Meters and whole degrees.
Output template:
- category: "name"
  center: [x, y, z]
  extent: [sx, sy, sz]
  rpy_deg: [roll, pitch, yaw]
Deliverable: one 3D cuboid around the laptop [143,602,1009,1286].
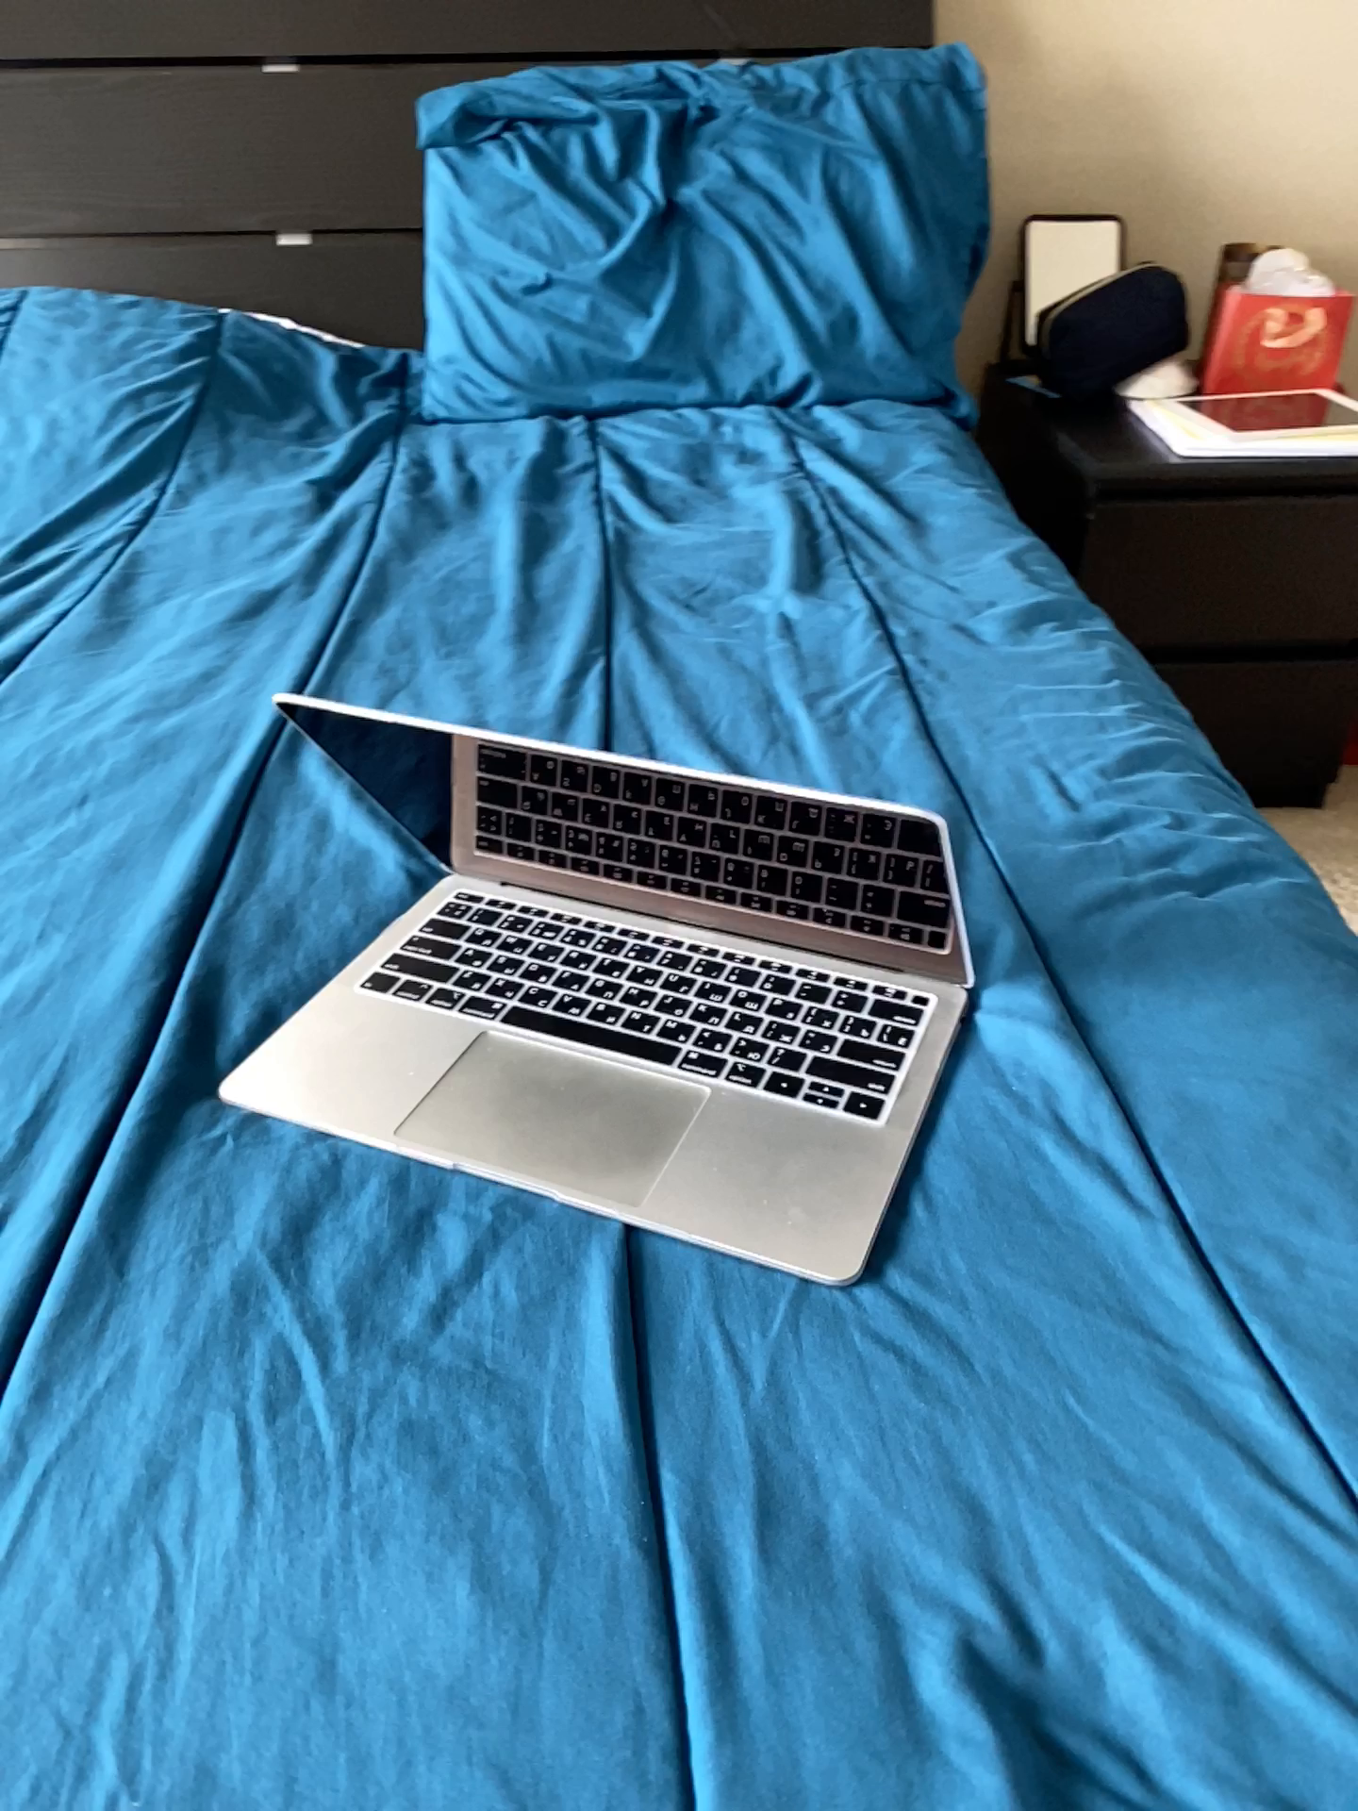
- category: "laptop"
  center: [-0.030, -0.006, 0.615]
  extent: [0.295, 0.161, 0.216]
  rpy_deg: [12, 34, 19]
